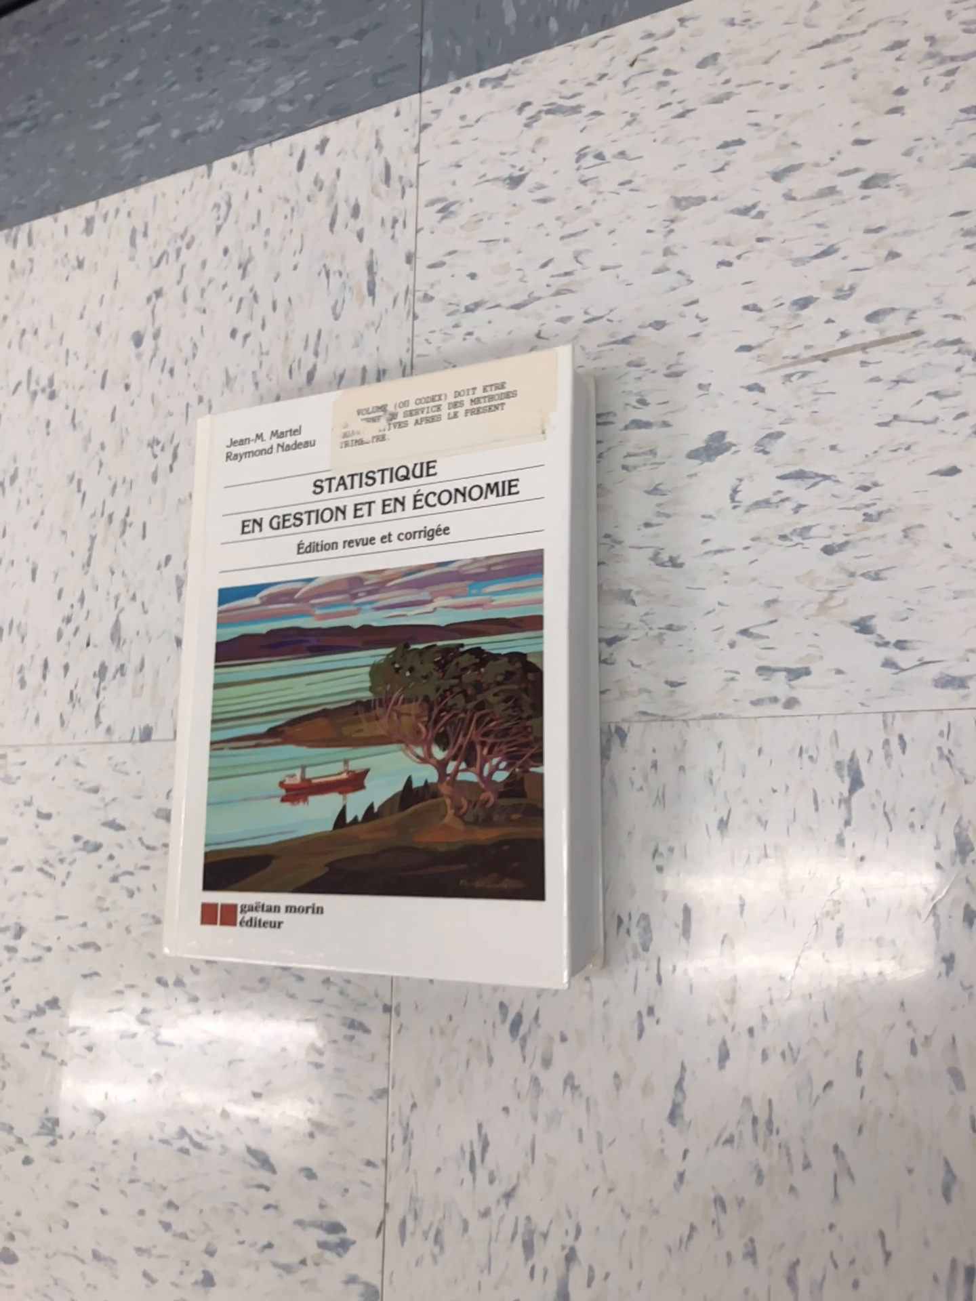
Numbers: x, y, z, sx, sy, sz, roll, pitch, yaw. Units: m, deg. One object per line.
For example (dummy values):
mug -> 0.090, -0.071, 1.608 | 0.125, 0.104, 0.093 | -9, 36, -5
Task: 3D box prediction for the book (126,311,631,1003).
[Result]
book -> -0.044, 0.007, 0.437 | 0.191, 0.060, 0.240 | -5, 78, 26
